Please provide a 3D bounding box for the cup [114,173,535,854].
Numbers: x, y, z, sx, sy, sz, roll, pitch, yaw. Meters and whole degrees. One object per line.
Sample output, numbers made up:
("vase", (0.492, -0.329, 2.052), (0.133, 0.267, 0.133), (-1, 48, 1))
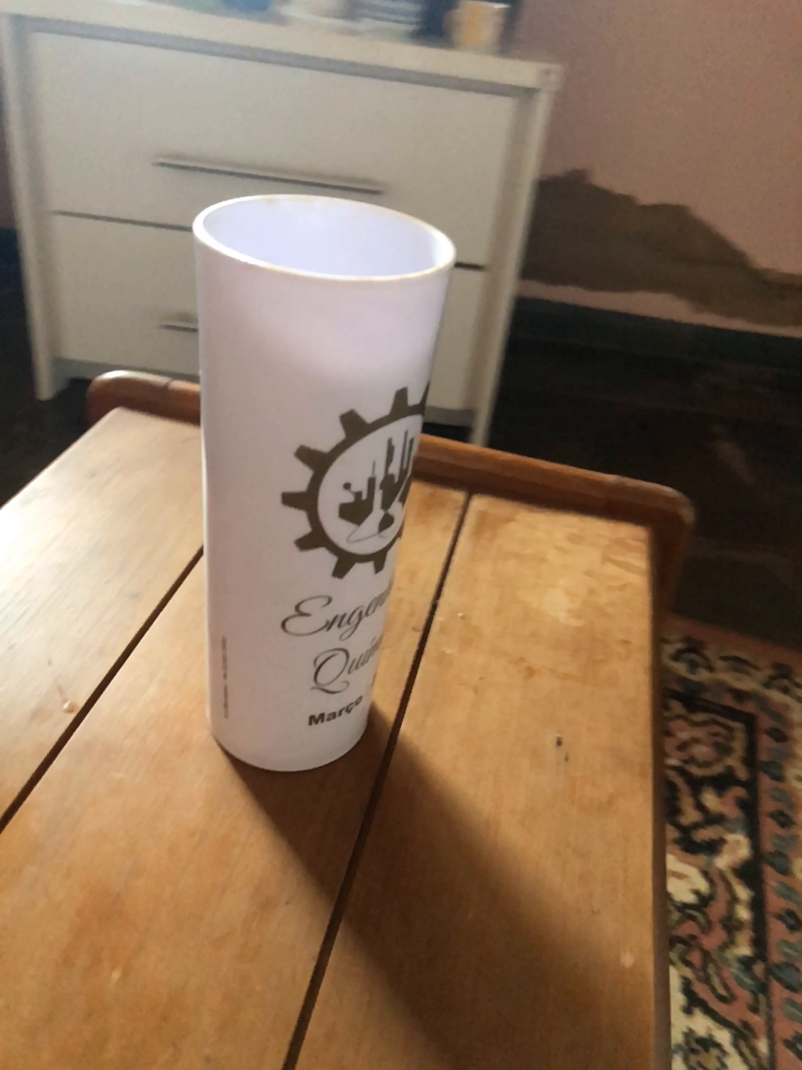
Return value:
("cup", (-0.023, -0.003, 0.244), (0.070, 0.159, 0.071), (6, 34, -4))
